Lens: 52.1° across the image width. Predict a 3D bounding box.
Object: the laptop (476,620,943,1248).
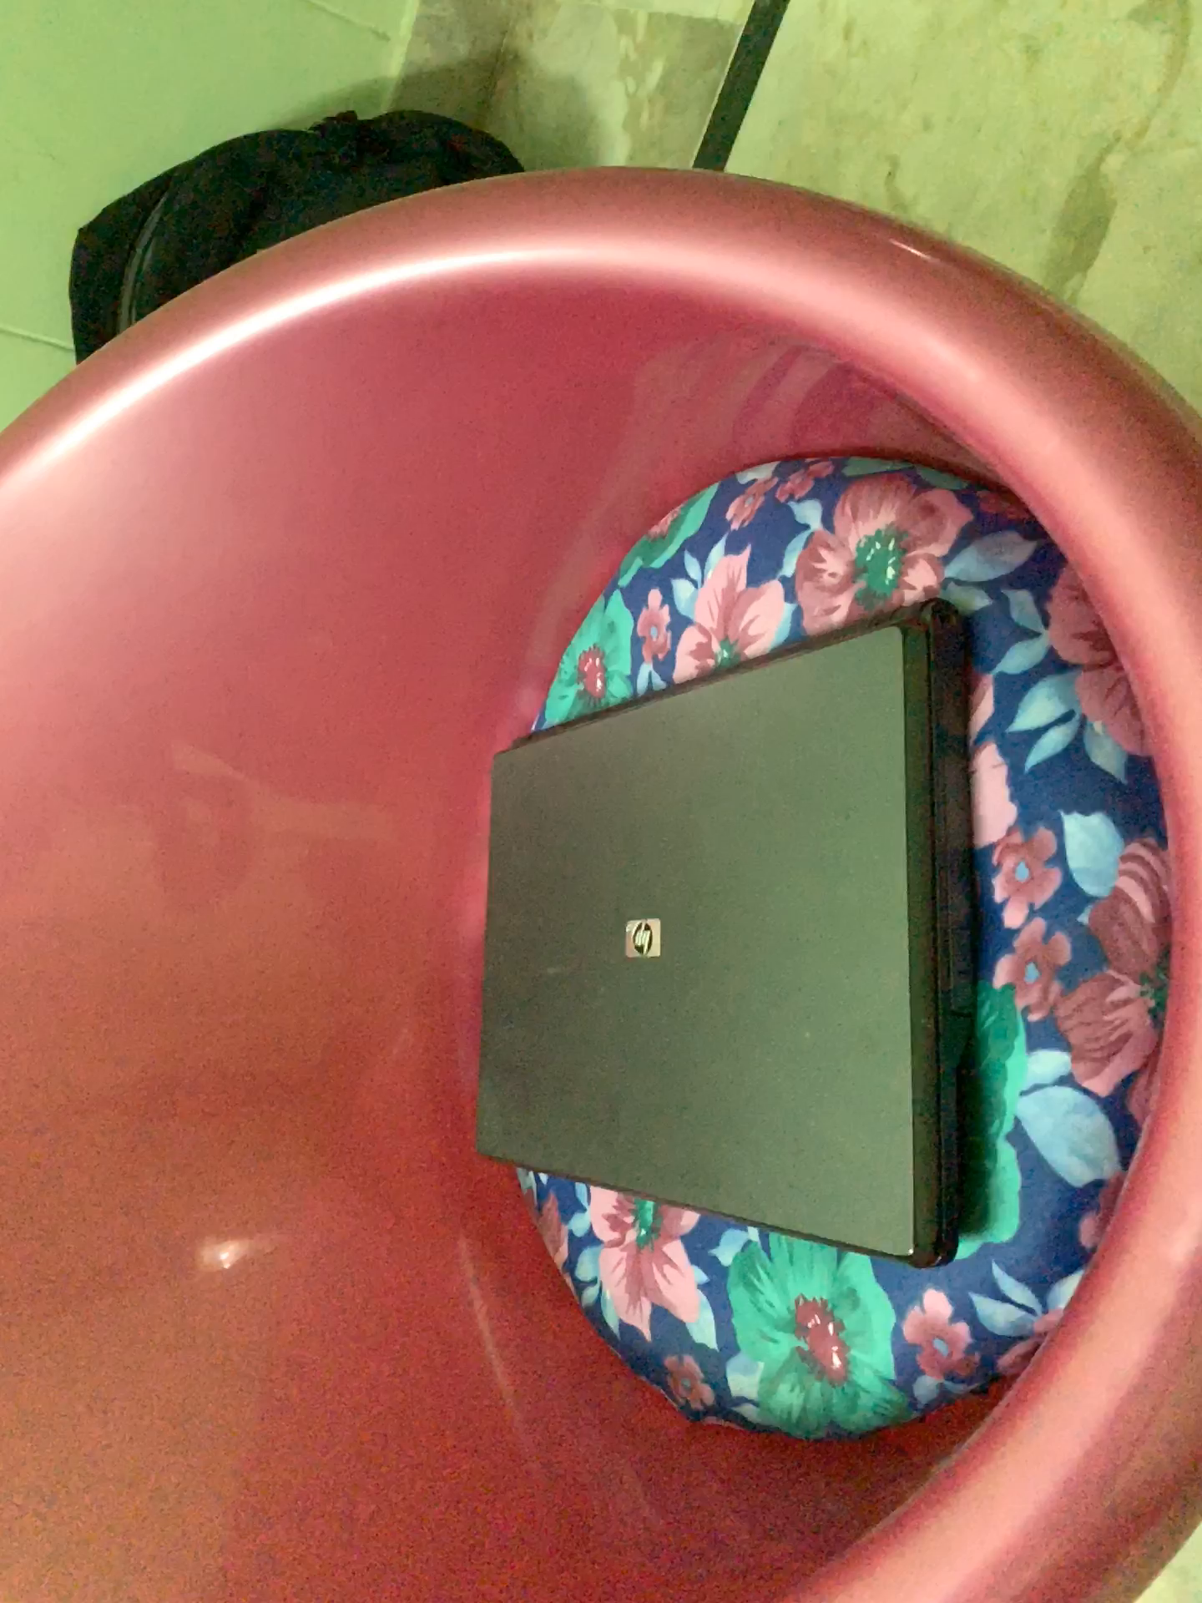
[{"bbox_3d":[0.027,0.060,0.559,0.306,0.003,0.222,-11,75,53],"label":"laptop"}]
